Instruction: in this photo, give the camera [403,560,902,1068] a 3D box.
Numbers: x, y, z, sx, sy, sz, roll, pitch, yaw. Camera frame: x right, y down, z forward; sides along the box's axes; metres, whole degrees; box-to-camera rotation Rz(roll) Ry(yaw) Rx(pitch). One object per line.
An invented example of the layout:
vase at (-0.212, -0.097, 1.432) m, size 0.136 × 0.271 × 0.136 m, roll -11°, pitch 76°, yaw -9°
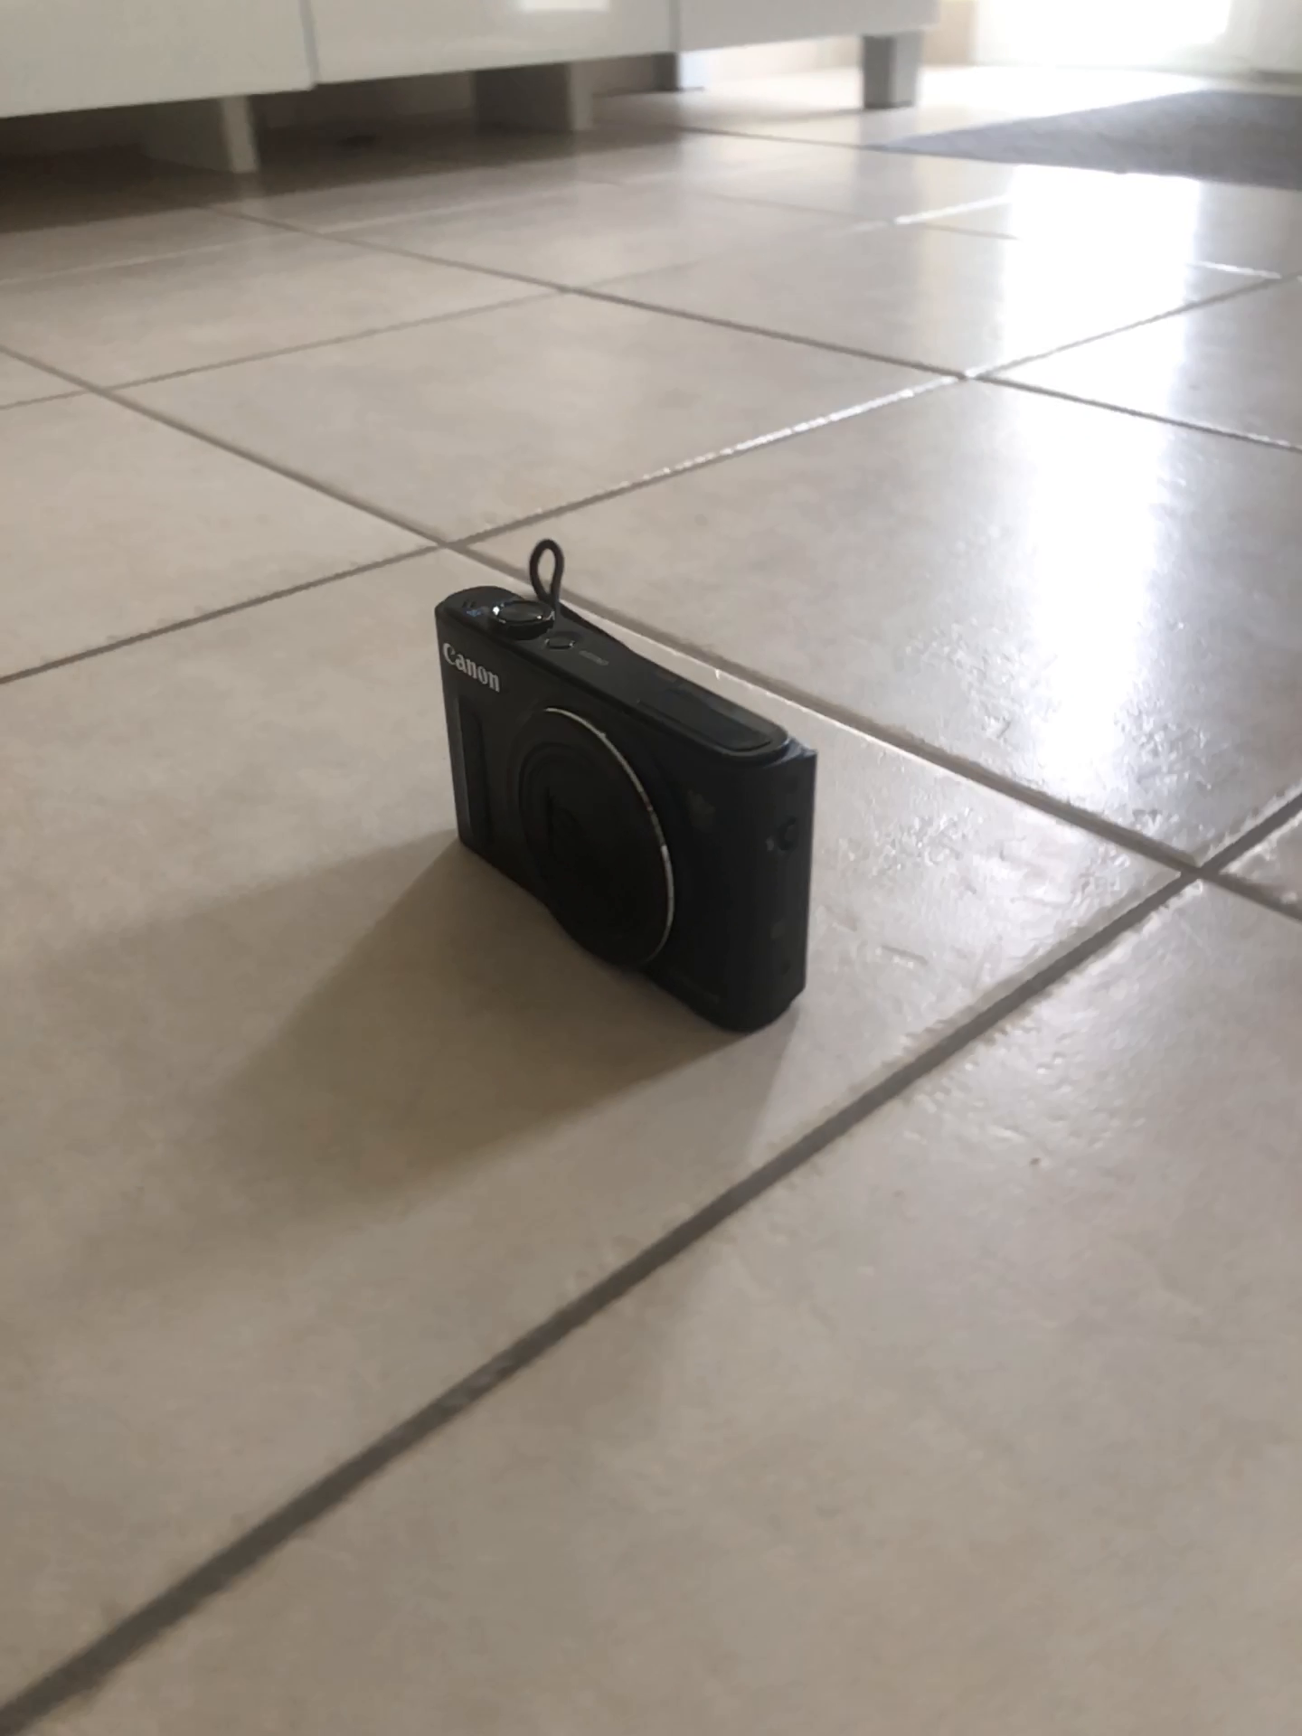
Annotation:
camera at (-0.003, -0.017, 0.302) m, size 0.040 × 0.060 × 0.110 m, roll -24°, pitch 39°, yaw -31°
